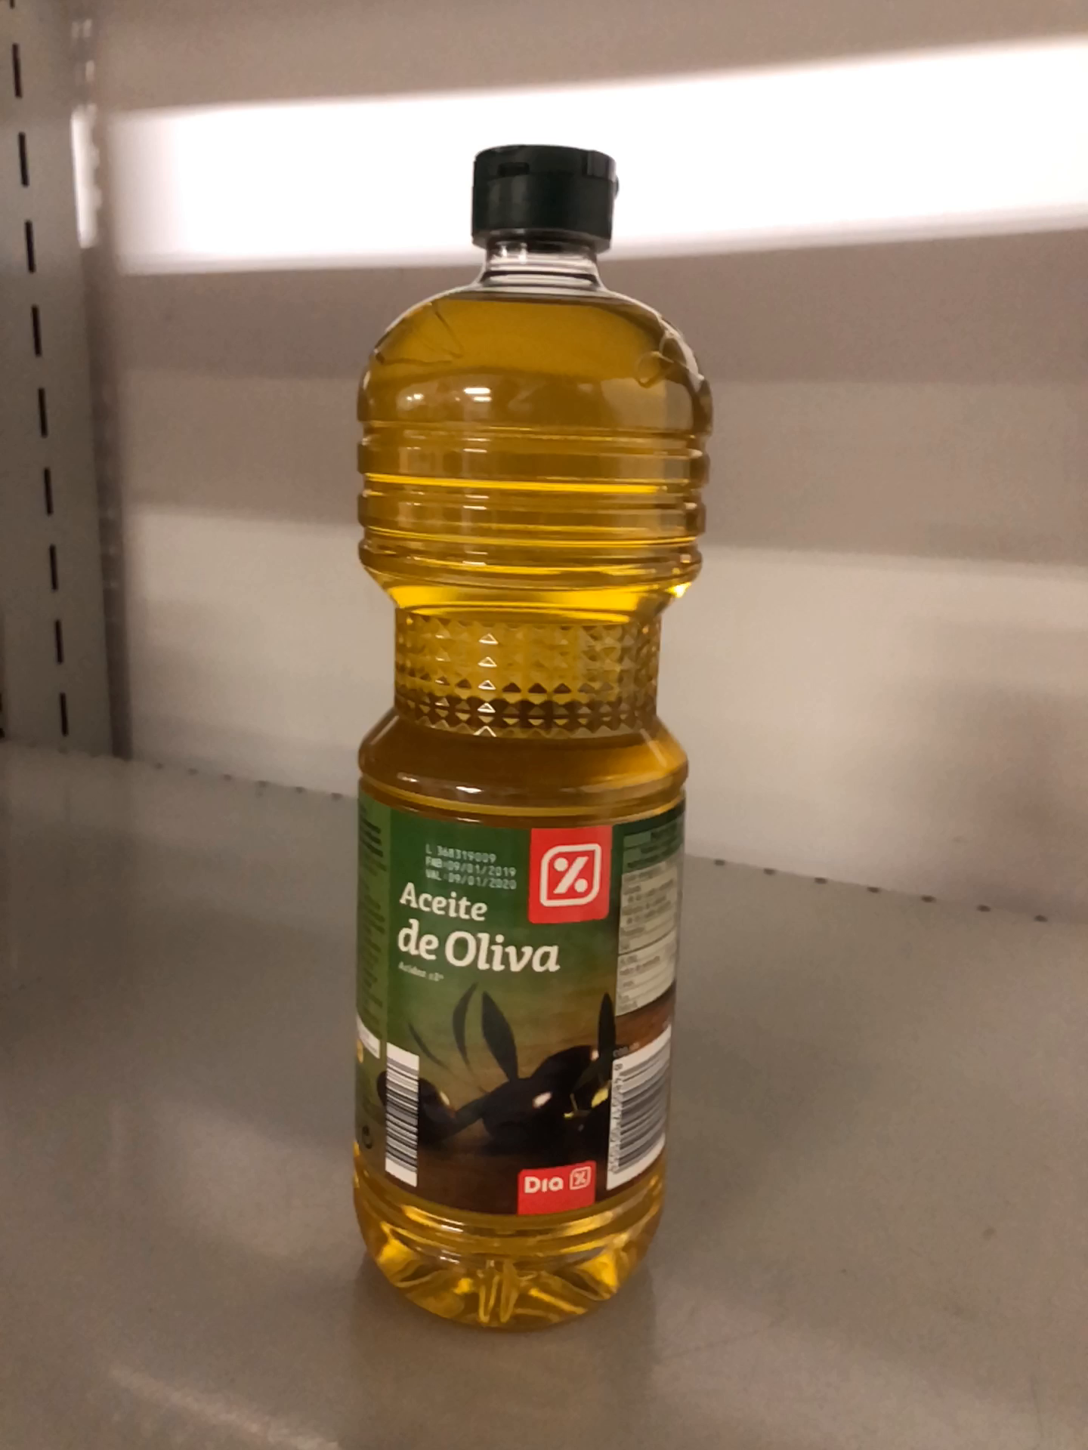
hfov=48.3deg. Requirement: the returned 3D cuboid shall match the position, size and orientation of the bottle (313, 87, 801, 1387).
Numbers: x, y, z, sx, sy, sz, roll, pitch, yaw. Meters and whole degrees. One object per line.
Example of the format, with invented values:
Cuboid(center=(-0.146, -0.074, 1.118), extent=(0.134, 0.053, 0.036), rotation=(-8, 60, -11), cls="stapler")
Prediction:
Cuboid(center=(-0.001, 0.009, 0.258), extent=(0.080, 0.249, 0.060), rotation=(4, 14, 4), cls="bottle")
